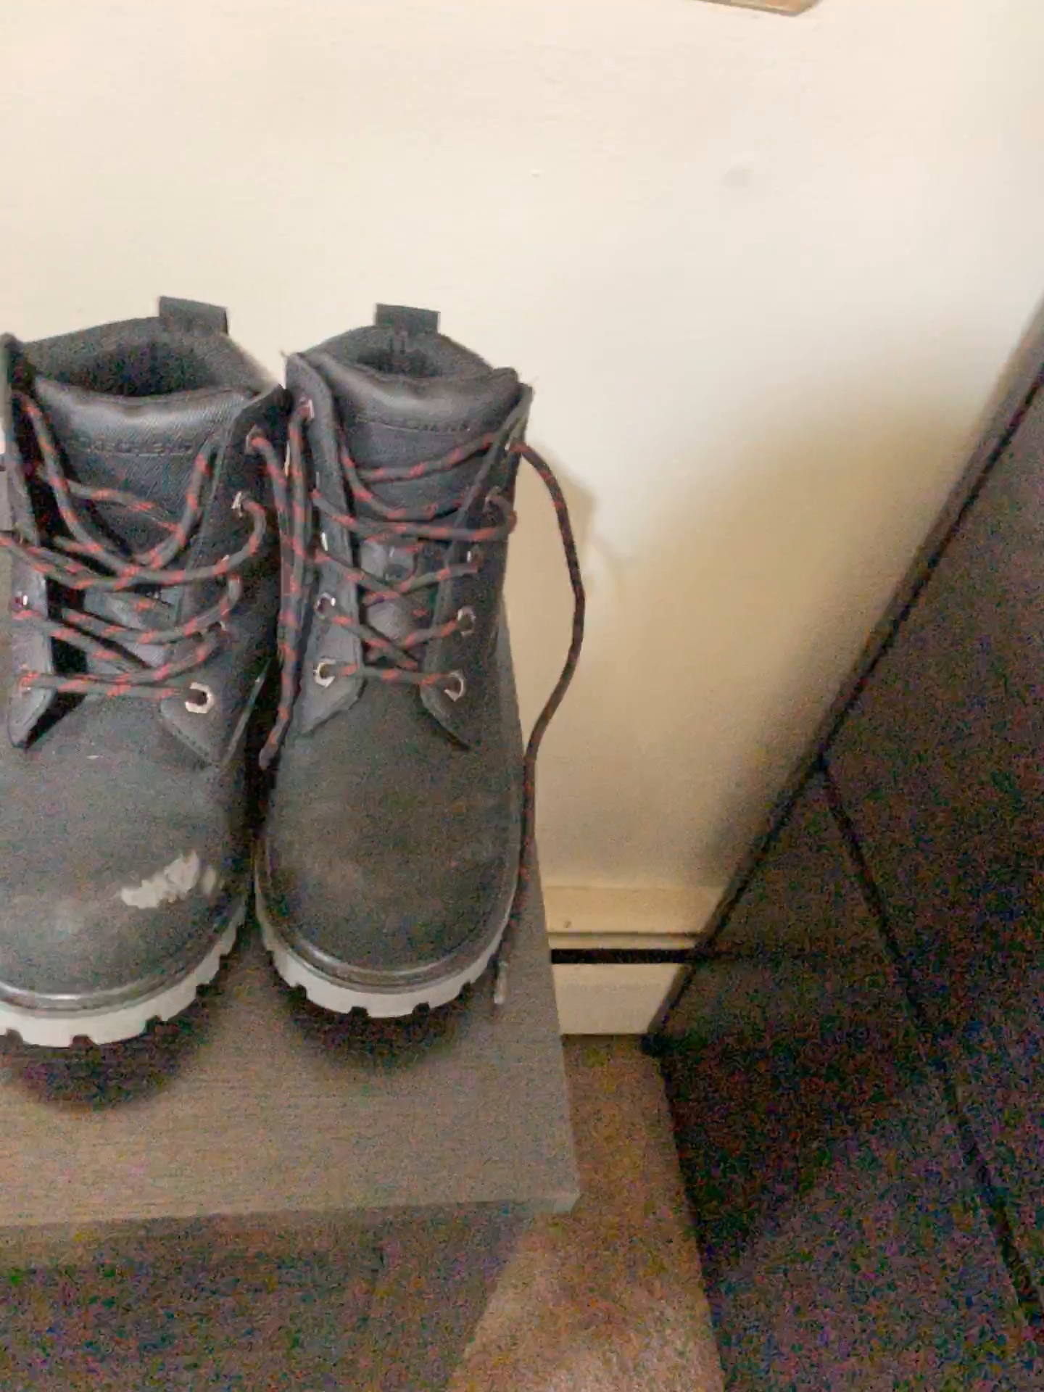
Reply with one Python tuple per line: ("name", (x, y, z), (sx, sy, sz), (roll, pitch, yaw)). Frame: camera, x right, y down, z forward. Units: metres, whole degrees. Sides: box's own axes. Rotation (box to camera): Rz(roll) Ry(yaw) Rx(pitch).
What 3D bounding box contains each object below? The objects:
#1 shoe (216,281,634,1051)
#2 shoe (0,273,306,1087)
("shoe", (-0.047, -0.019, 0.391), (0.100, 0.158, 0.232), (2, 44, -11))
("shoe", (-0.130, -0.012, 0.362), (0.100, 0.158, 0.222), (2, 44, -11))
